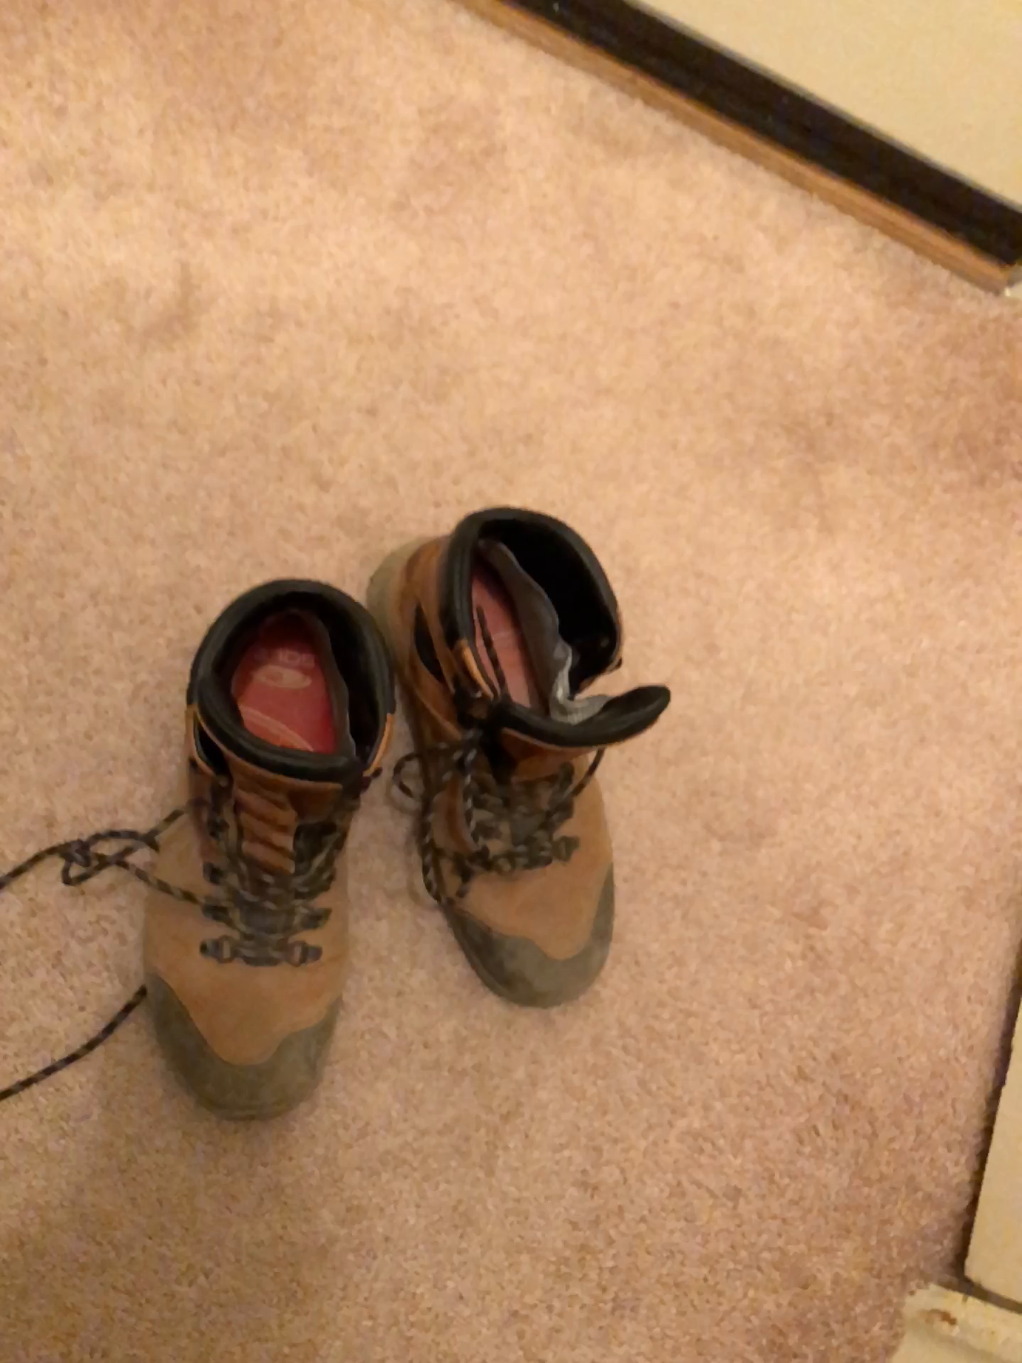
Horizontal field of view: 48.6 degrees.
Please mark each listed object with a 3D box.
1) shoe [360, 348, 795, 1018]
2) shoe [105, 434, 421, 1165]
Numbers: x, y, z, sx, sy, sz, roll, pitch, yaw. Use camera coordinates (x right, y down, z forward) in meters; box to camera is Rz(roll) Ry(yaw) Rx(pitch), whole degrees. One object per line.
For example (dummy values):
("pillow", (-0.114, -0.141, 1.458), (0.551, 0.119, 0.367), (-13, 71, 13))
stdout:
("shoe", (0.013, 0.016, 0.632), (0.120, 0.230, 0.310), (-7, 76, -16))
("shoe", (-0.126, 0.068, 0.592), (0.120, 0.220, 0.310), (3, 73, -14))
